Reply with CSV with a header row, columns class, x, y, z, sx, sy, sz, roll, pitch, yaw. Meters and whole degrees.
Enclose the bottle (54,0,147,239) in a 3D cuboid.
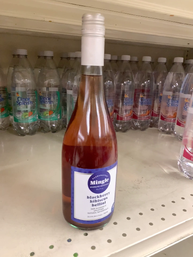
class,x,y,z,sx,sy,sz,roll,pitch,yaw
bottle,-0.007,0.001,0.287,0.090,0.299,0.080,-4,20,-20
